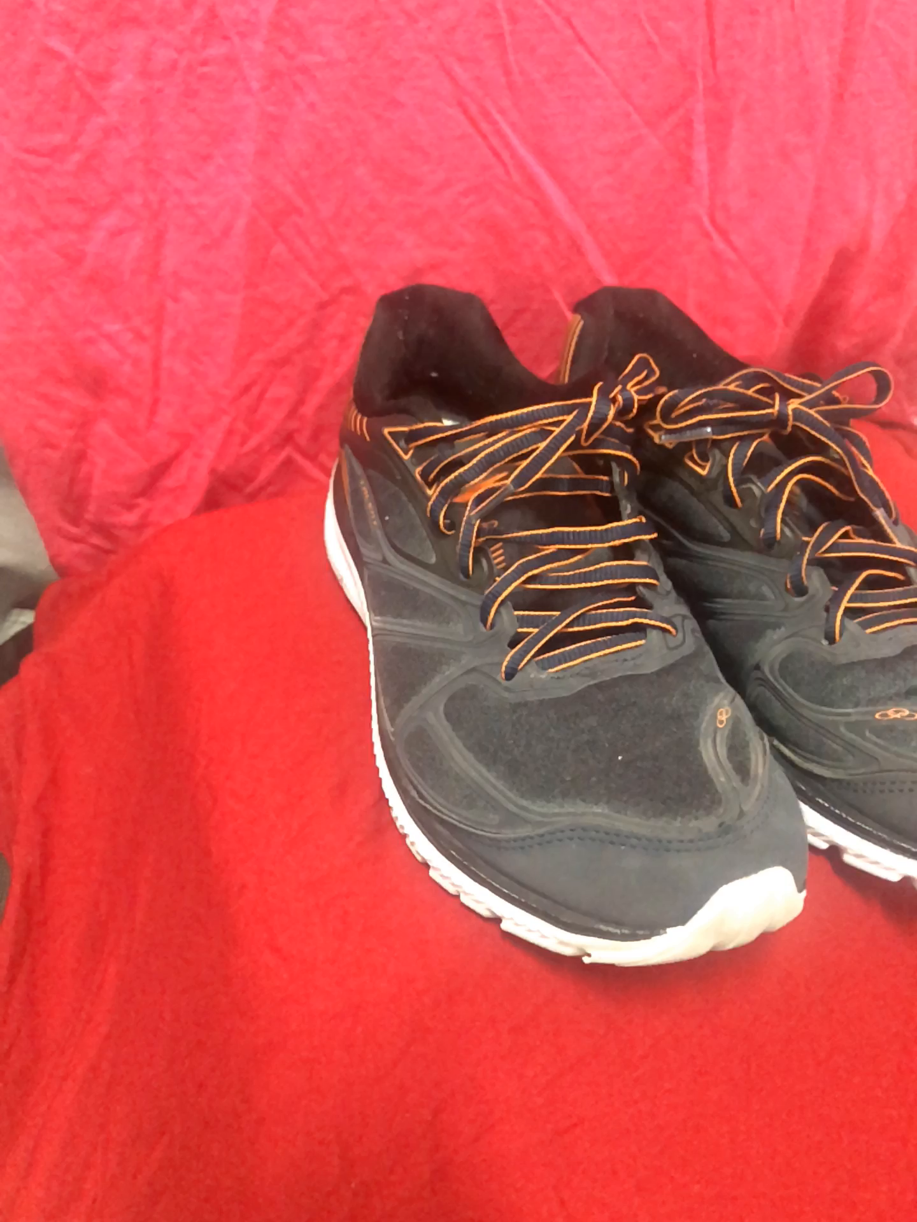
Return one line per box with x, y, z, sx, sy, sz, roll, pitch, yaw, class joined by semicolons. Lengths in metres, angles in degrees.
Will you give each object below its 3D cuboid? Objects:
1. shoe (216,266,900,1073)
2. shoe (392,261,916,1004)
-0.001;-0.018;0.335;0.110;0.089;0.282;-11;39;-14;shoe
0.082;-0.025;0.365;0.110;0.099;0.282;-16;40;-19;shoe
